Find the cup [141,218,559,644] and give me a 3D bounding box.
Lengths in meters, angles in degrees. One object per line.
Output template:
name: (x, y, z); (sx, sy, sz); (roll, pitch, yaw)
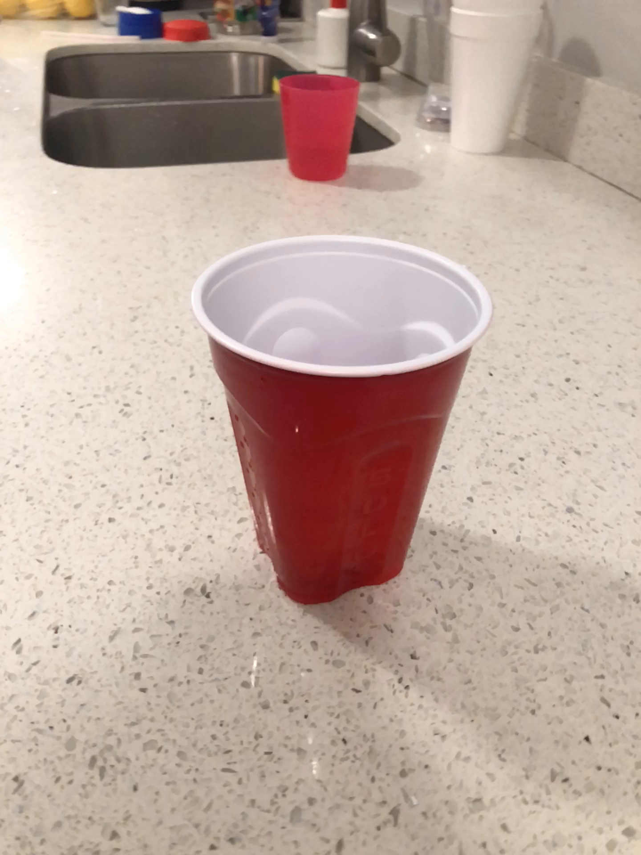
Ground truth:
cup: (0.002, -0.006, 0.254); (0.101, 0.092, 0.101); (1, 36, 0)
